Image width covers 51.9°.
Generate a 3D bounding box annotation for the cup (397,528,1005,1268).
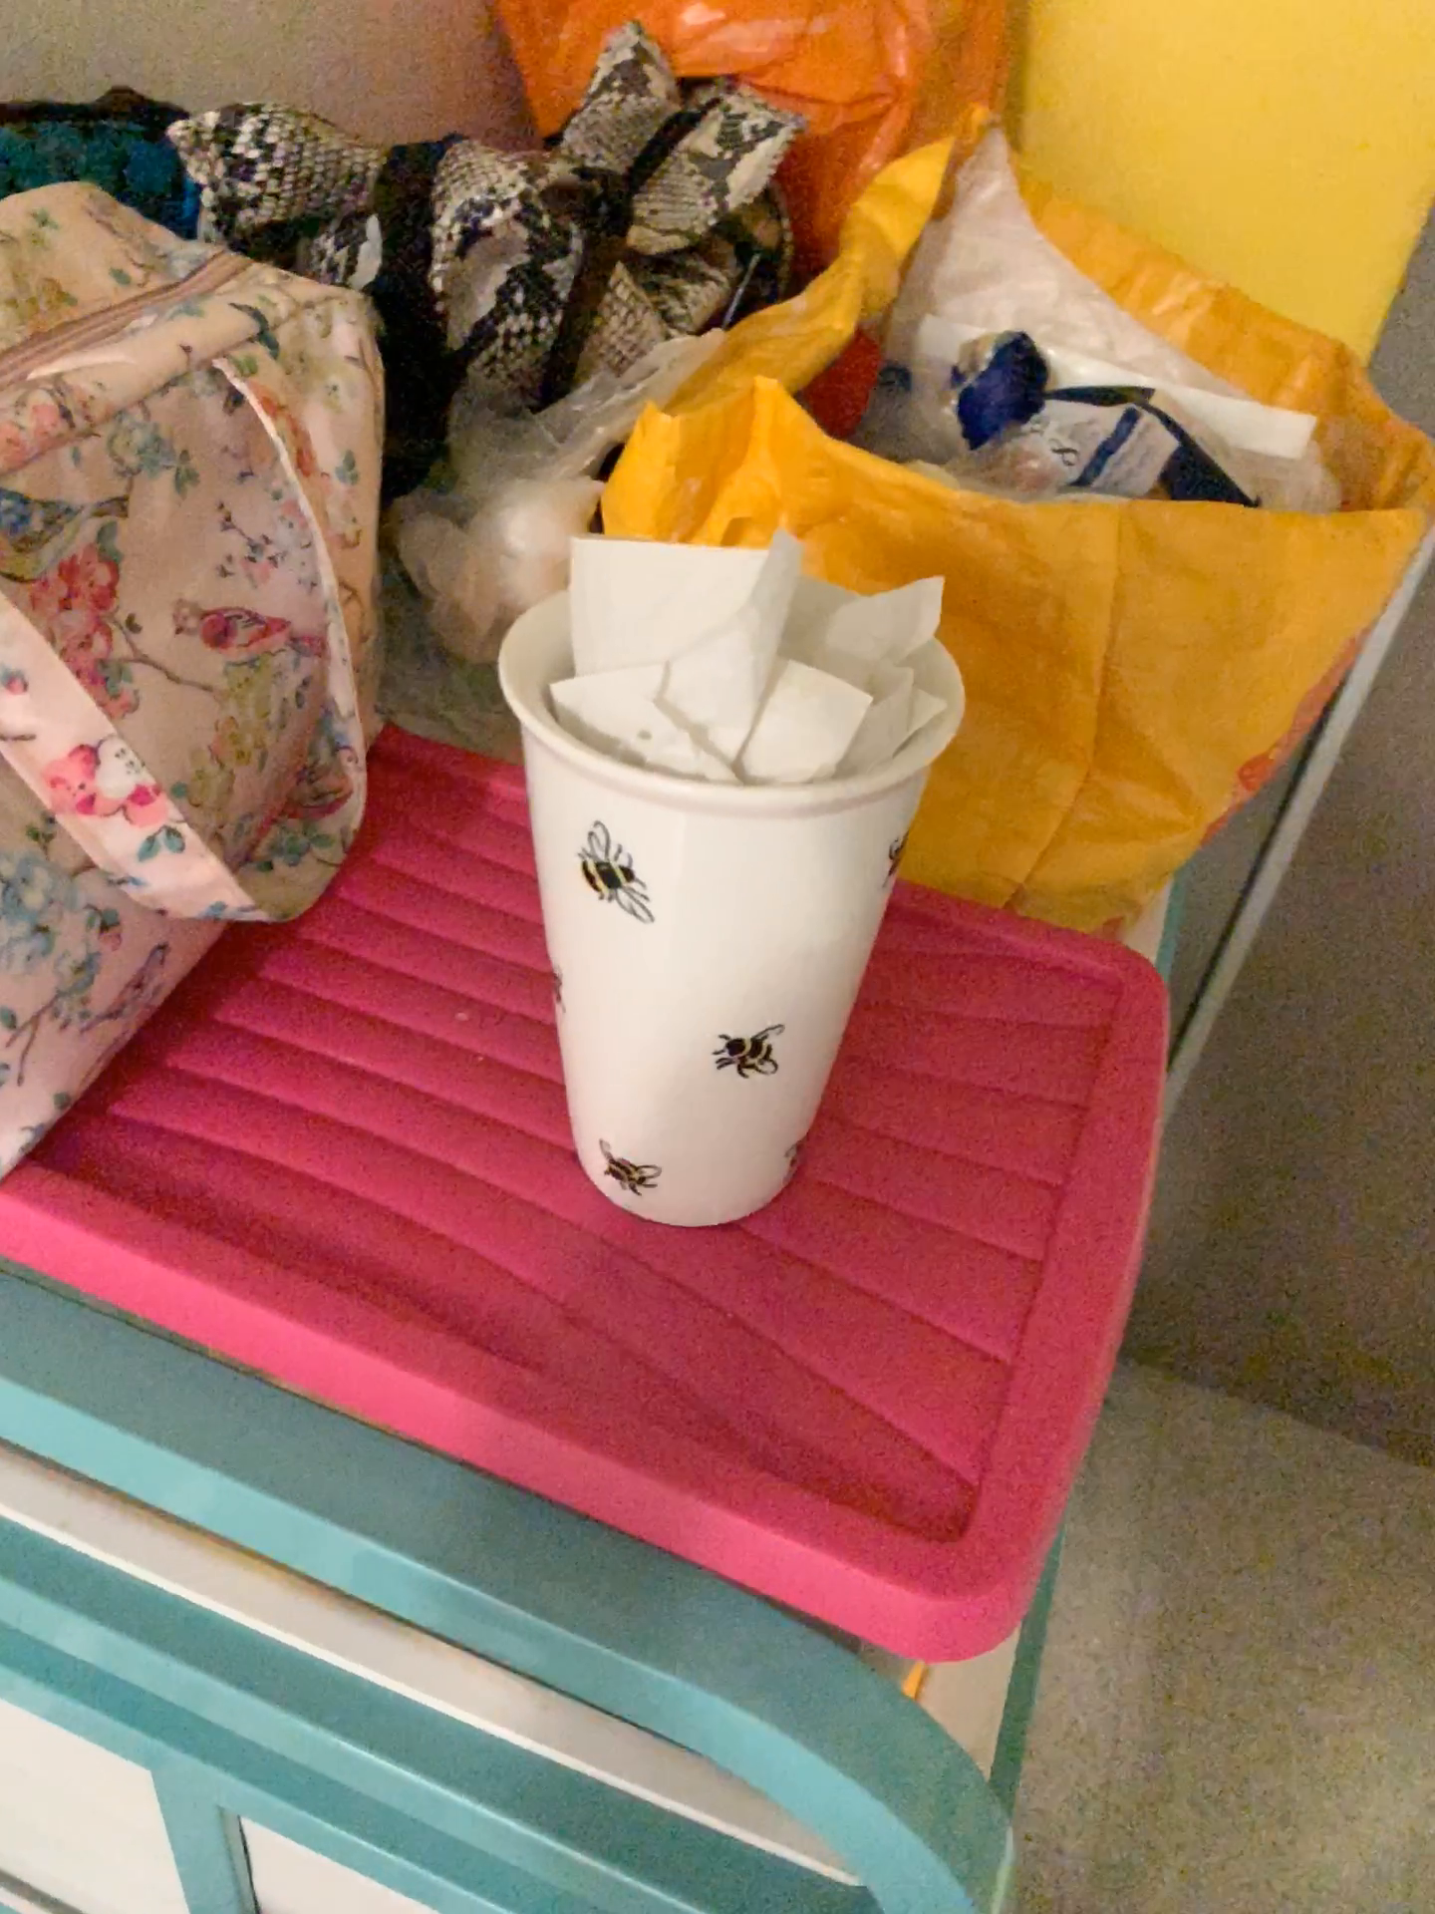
[{"bbox_3d":[-0.003,-0.015,0.324,0.098,0.112,0.091,4,38,-3],"label":"cup"}]
